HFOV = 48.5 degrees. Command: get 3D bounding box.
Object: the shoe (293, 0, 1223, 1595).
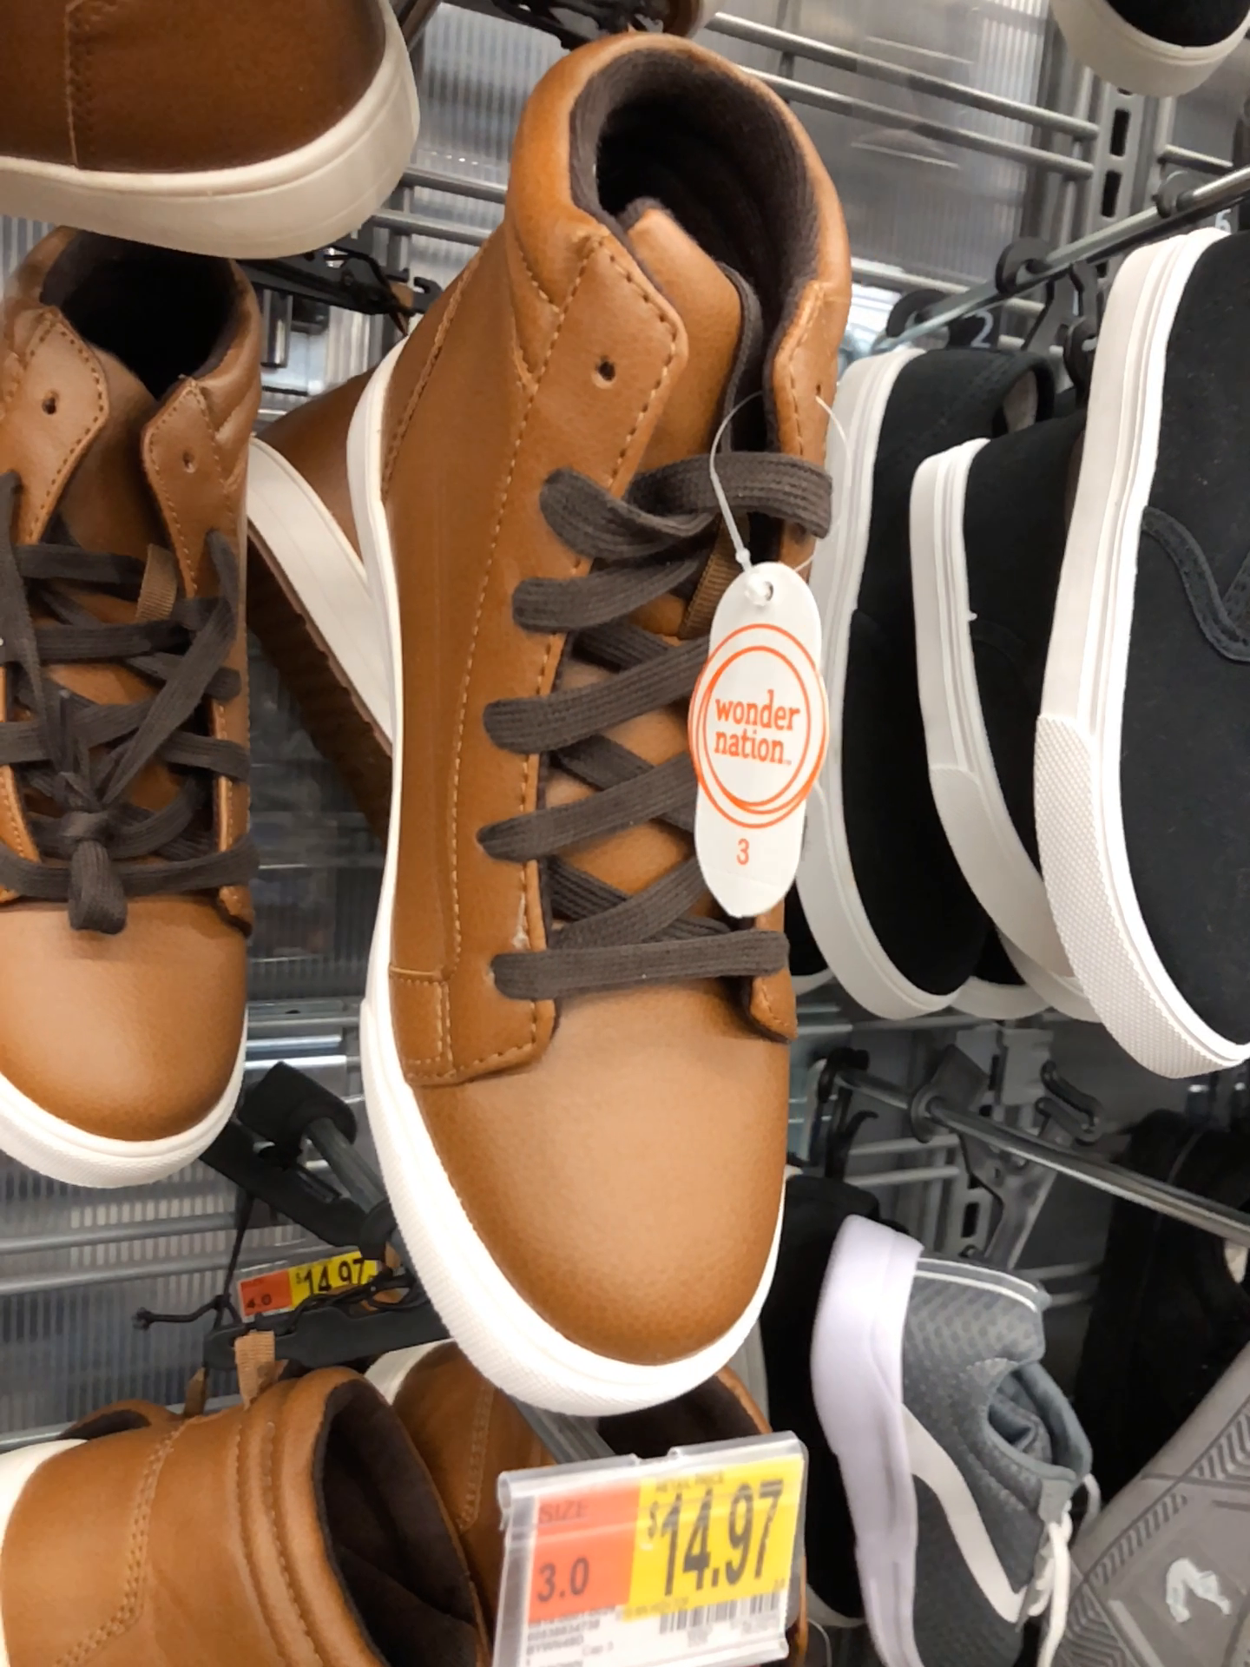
[{"bbox_3d":[0.010,-0.014,0.250,0.096,0.227,0.110,0,-11,-30],"label":"shoe"}]
